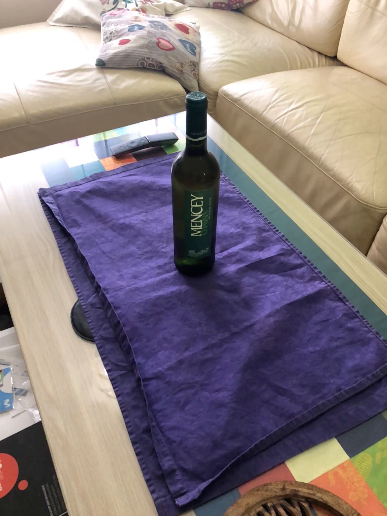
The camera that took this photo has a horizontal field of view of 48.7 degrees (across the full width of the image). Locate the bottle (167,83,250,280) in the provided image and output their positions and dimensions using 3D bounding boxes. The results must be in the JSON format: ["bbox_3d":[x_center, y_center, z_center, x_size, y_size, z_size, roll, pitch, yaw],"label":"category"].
[{"bbox_3d":[0.014,-0.094,0.606,0.090,0.269,0.090,0,46,0],"label":"bottle"}]
